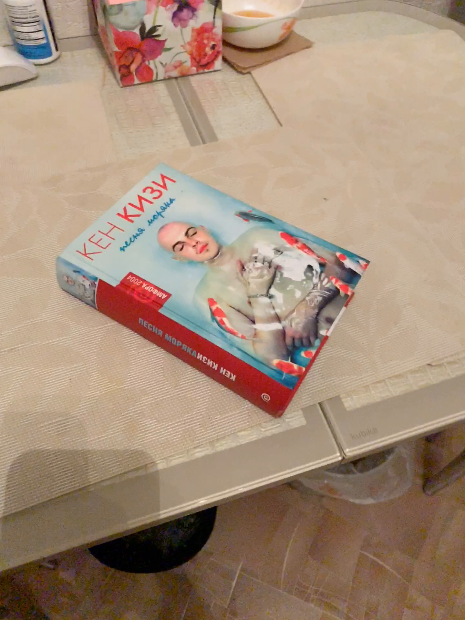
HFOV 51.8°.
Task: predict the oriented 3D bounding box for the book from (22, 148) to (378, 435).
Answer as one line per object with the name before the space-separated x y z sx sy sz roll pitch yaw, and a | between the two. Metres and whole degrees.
book | -0.021 -0.029 0.364 0.210 0.040 0.151 28 59 16
